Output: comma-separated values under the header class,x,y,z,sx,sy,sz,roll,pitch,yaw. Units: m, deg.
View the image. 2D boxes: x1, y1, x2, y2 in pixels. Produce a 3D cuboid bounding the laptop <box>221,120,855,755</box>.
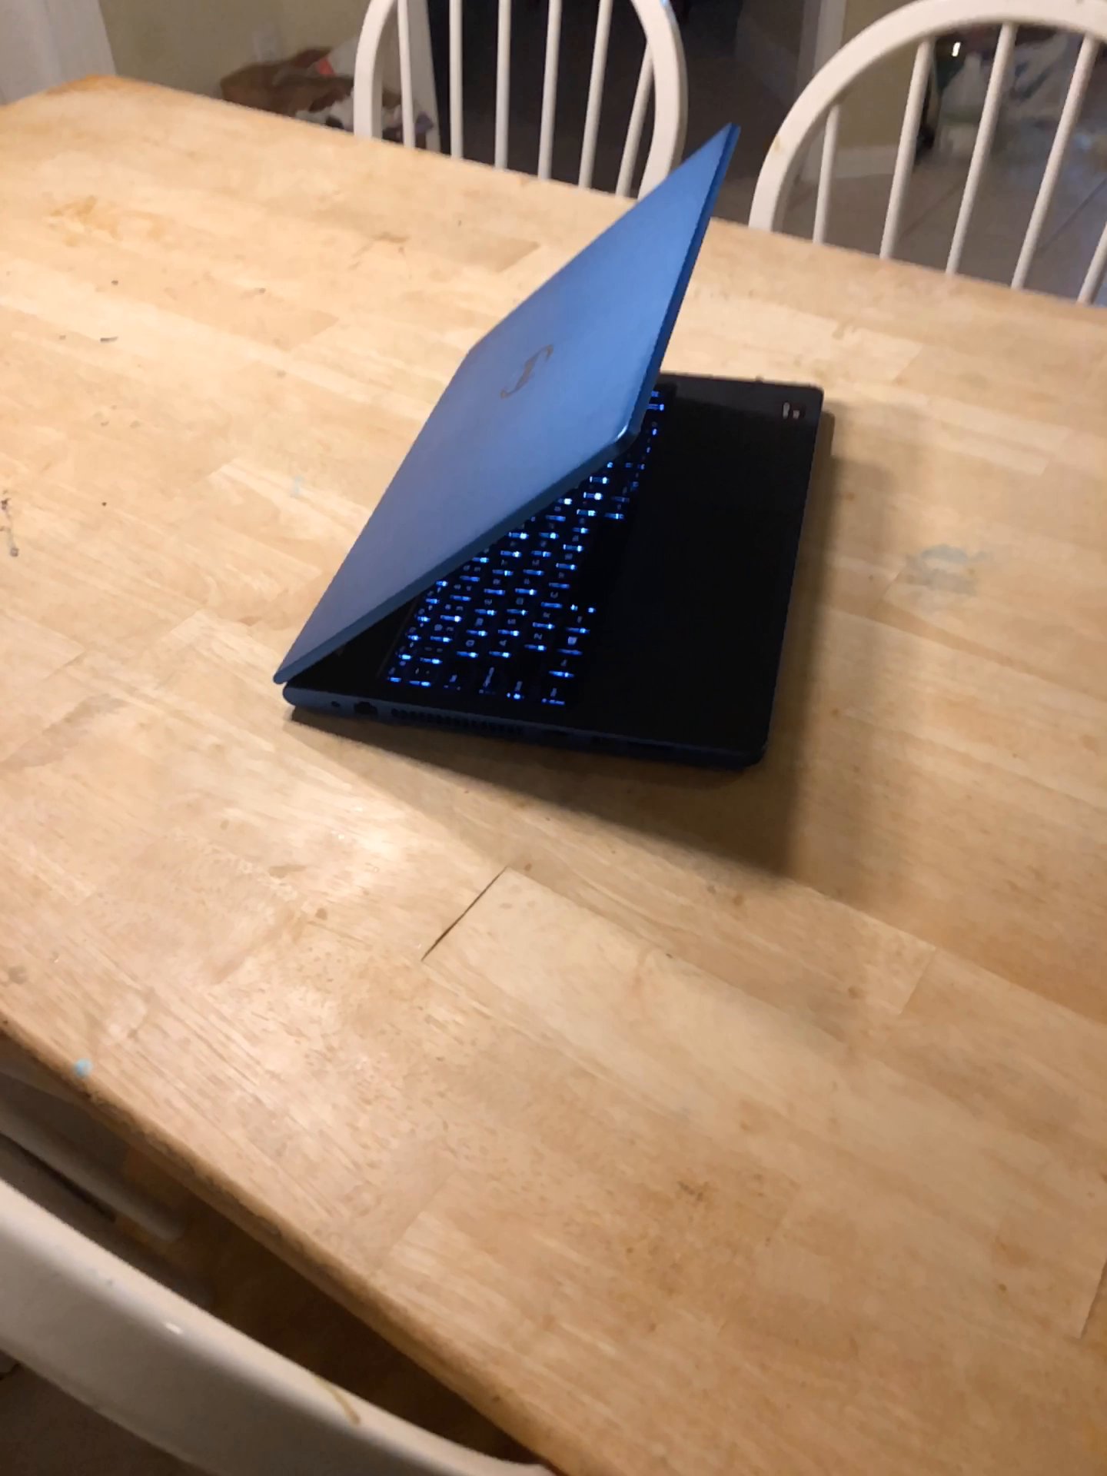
class,x,y,z,sx,sy,sz,roll,pitch,yaw
laptop,0.023,-0.191,0.676,0.248,0.159,0.363,8,45,9
